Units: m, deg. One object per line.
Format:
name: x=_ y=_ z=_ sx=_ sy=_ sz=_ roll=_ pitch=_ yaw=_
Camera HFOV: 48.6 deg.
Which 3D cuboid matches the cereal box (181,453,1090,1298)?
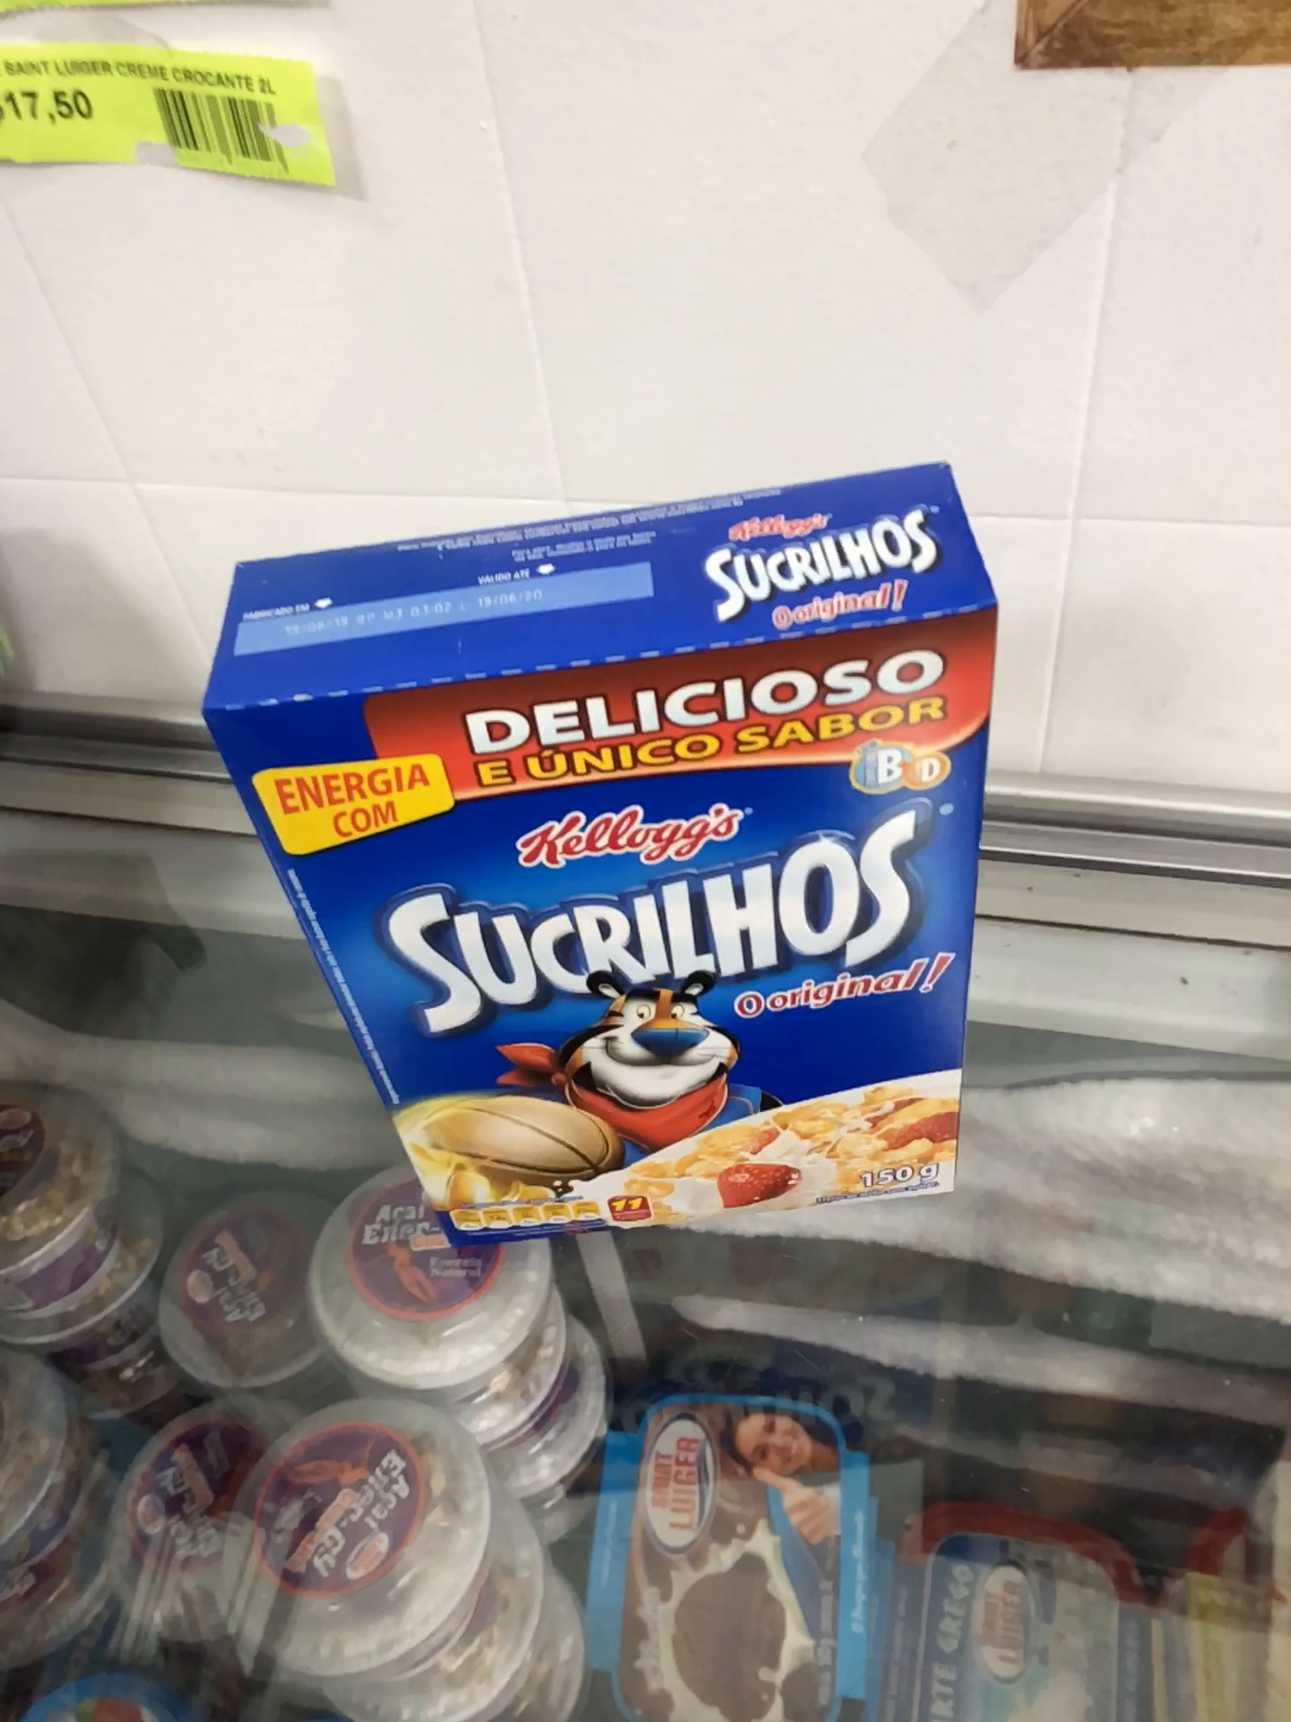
cereal box: x=0.007 y=0.021 z=0.309 sx=0.140 sy=0.199 sz=0.050 roll=-6 pitch=48 yaw=3
